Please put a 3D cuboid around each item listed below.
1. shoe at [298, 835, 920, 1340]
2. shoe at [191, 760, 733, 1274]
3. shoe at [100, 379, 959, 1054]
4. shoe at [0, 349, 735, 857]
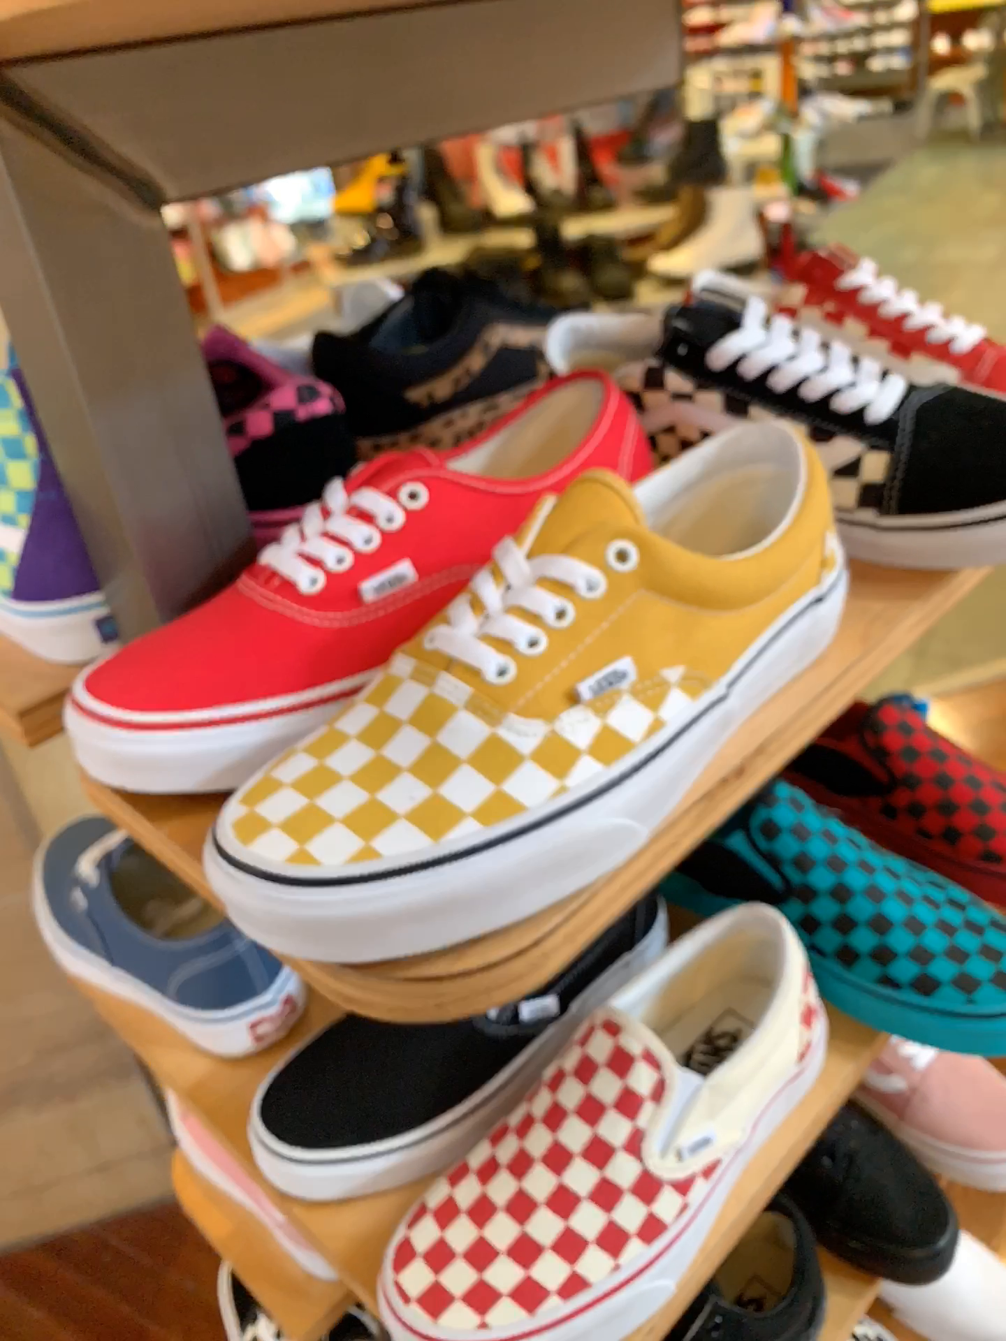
[{"bbox_3d":[0.059,0.188,0.456,0.268,0.066,0.103,-31,37,-31],"label":"shoe"},{"bbox_3d":[-0.008,0.157,0.545,0.268,0.066,0.105,-31,37,-31],"label":"shoe"},{"bbox_3d":[0.028,-0.014,0.337,0.268,0.066,0.103,-32,38,-33],"label":"shoe"},{"bbox_3d":[-0.038,-0.048,0.410,0.268,0.066,0.109,-31,37,-31],"label":"shoe"}]
